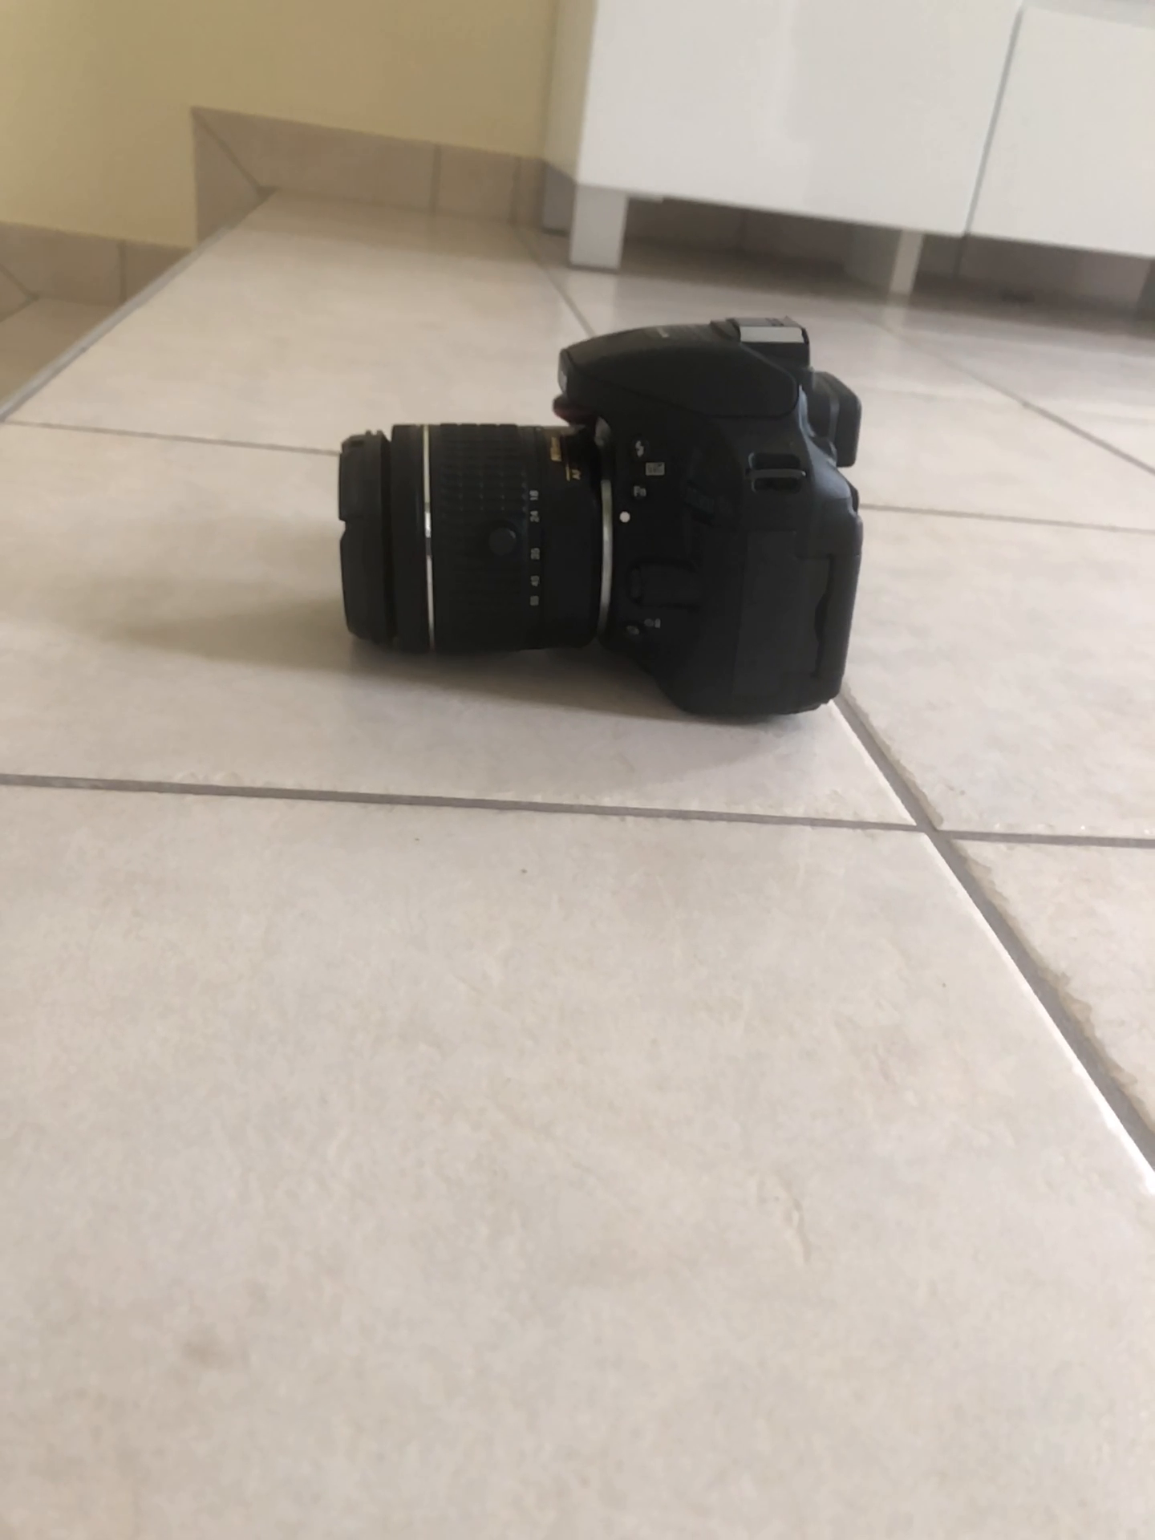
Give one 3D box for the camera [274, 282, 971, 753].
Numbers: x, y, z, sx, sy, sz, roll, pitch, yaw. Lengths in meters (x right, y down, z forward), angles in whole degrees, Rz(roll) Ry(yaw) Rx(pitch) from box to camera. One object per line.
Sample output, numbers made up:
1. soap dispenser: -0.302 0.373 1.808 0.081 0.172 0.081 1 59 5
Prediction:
1. camera: 0.003 -0.079 0.372 0.160 0.089 0.141 2 27 -7
